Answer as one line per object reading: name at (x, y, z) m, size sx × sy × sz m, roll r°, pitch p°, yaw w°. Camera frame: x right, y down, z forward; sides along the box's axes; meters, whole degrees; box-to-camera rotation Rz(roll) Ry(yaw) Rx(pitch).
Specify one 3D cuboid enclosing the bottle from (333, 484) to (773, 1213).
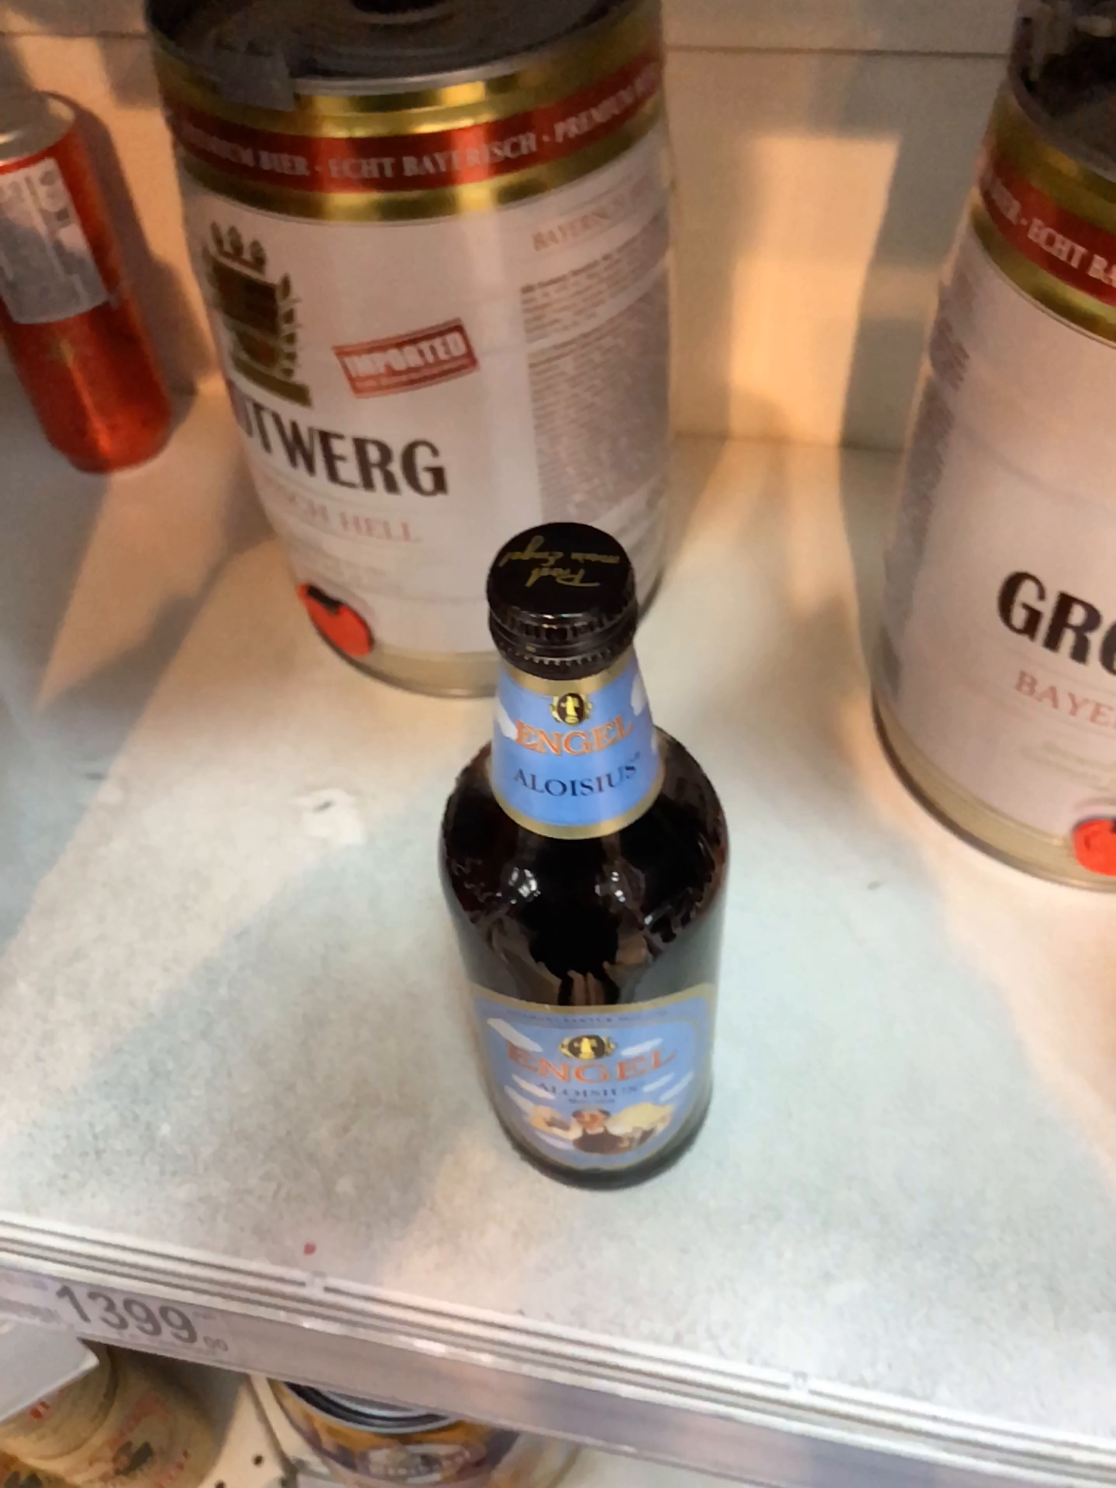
bottle at (0.009, 0.044, 0.304) m, size 0.070 × 0.219 × 0.060 m, roll 4°, pitch 52°, yaw 8°
